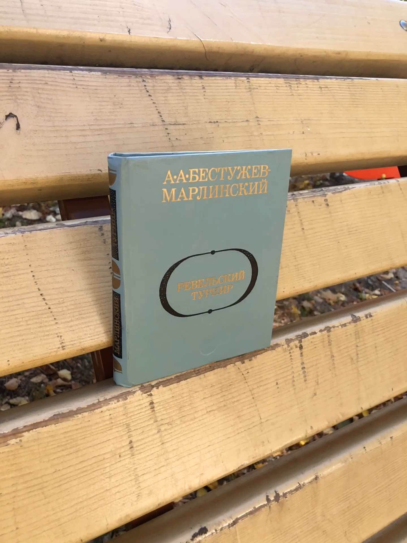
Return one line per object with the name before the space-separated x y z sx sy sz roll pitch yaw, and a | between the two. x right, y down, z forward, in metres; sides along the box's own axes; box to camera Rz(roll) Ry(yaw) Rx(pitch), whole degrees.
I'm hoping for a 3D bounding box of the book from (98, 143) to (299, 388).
book | -0.001 -0.005 0.340 0.140 0.169 0.022 -10 26 -23
